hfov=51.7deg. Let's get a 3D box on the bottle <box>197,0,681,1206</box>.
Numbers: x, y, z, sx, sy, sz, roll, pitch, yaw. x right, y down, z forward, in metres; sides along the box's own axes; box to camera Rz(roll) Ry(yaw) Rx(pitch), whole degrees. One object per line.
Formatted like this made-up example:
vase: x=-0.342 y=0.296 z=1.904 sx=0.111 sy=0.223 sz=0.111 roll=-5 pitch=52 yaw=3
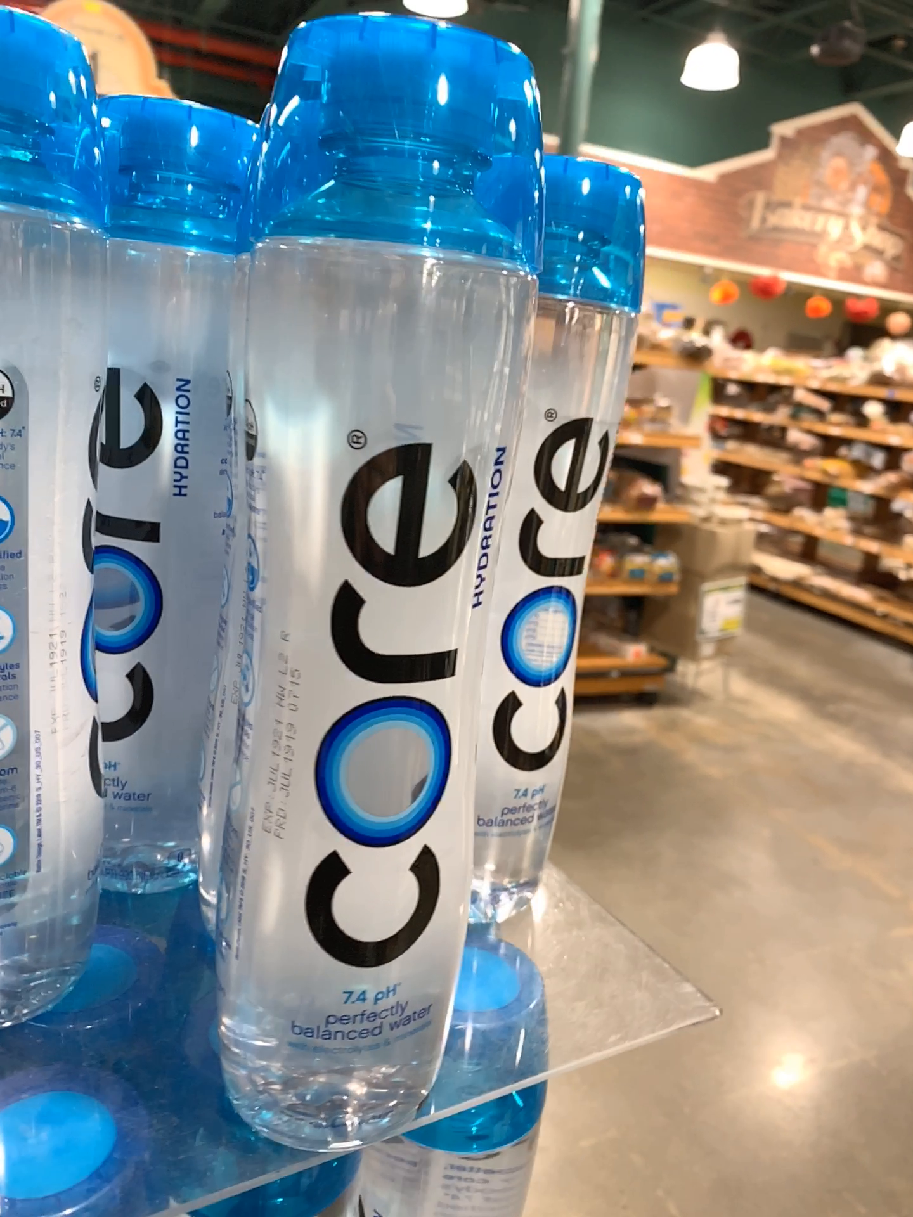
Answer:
bottle: x=-0.020 y=0.005 z=0.267 sx=0.080 sy=0.289 sz=0.090 roll=0 pitch=16 yaw=-23
